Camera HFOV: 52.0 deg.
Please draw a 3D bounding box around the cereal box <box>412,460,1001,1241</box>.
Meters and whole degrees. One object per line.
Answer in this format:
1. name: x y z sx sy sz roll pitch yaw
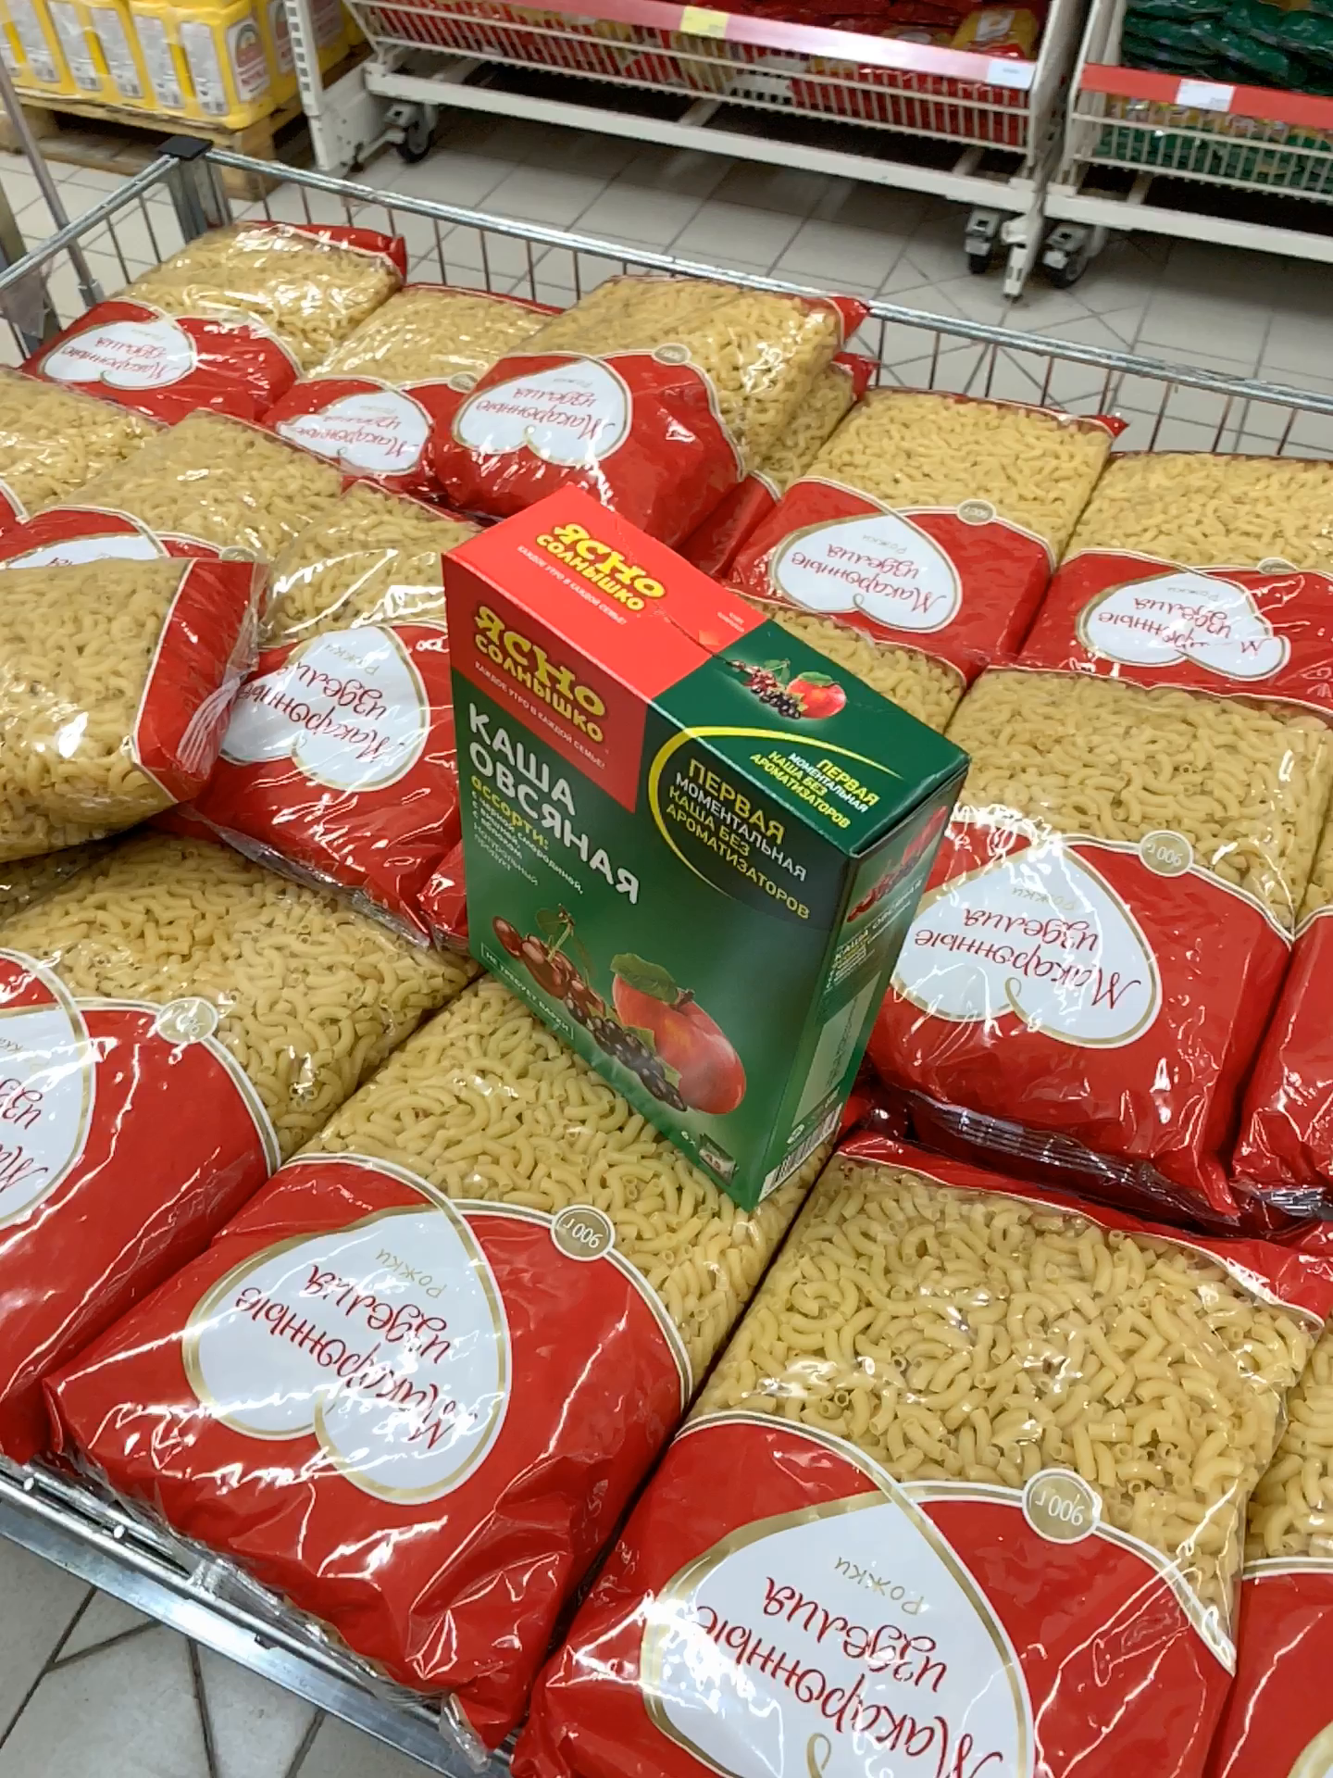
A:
1. cereal box: -0.002 -0.004 0.439 0.161 0.199 0.060 40 58 23
